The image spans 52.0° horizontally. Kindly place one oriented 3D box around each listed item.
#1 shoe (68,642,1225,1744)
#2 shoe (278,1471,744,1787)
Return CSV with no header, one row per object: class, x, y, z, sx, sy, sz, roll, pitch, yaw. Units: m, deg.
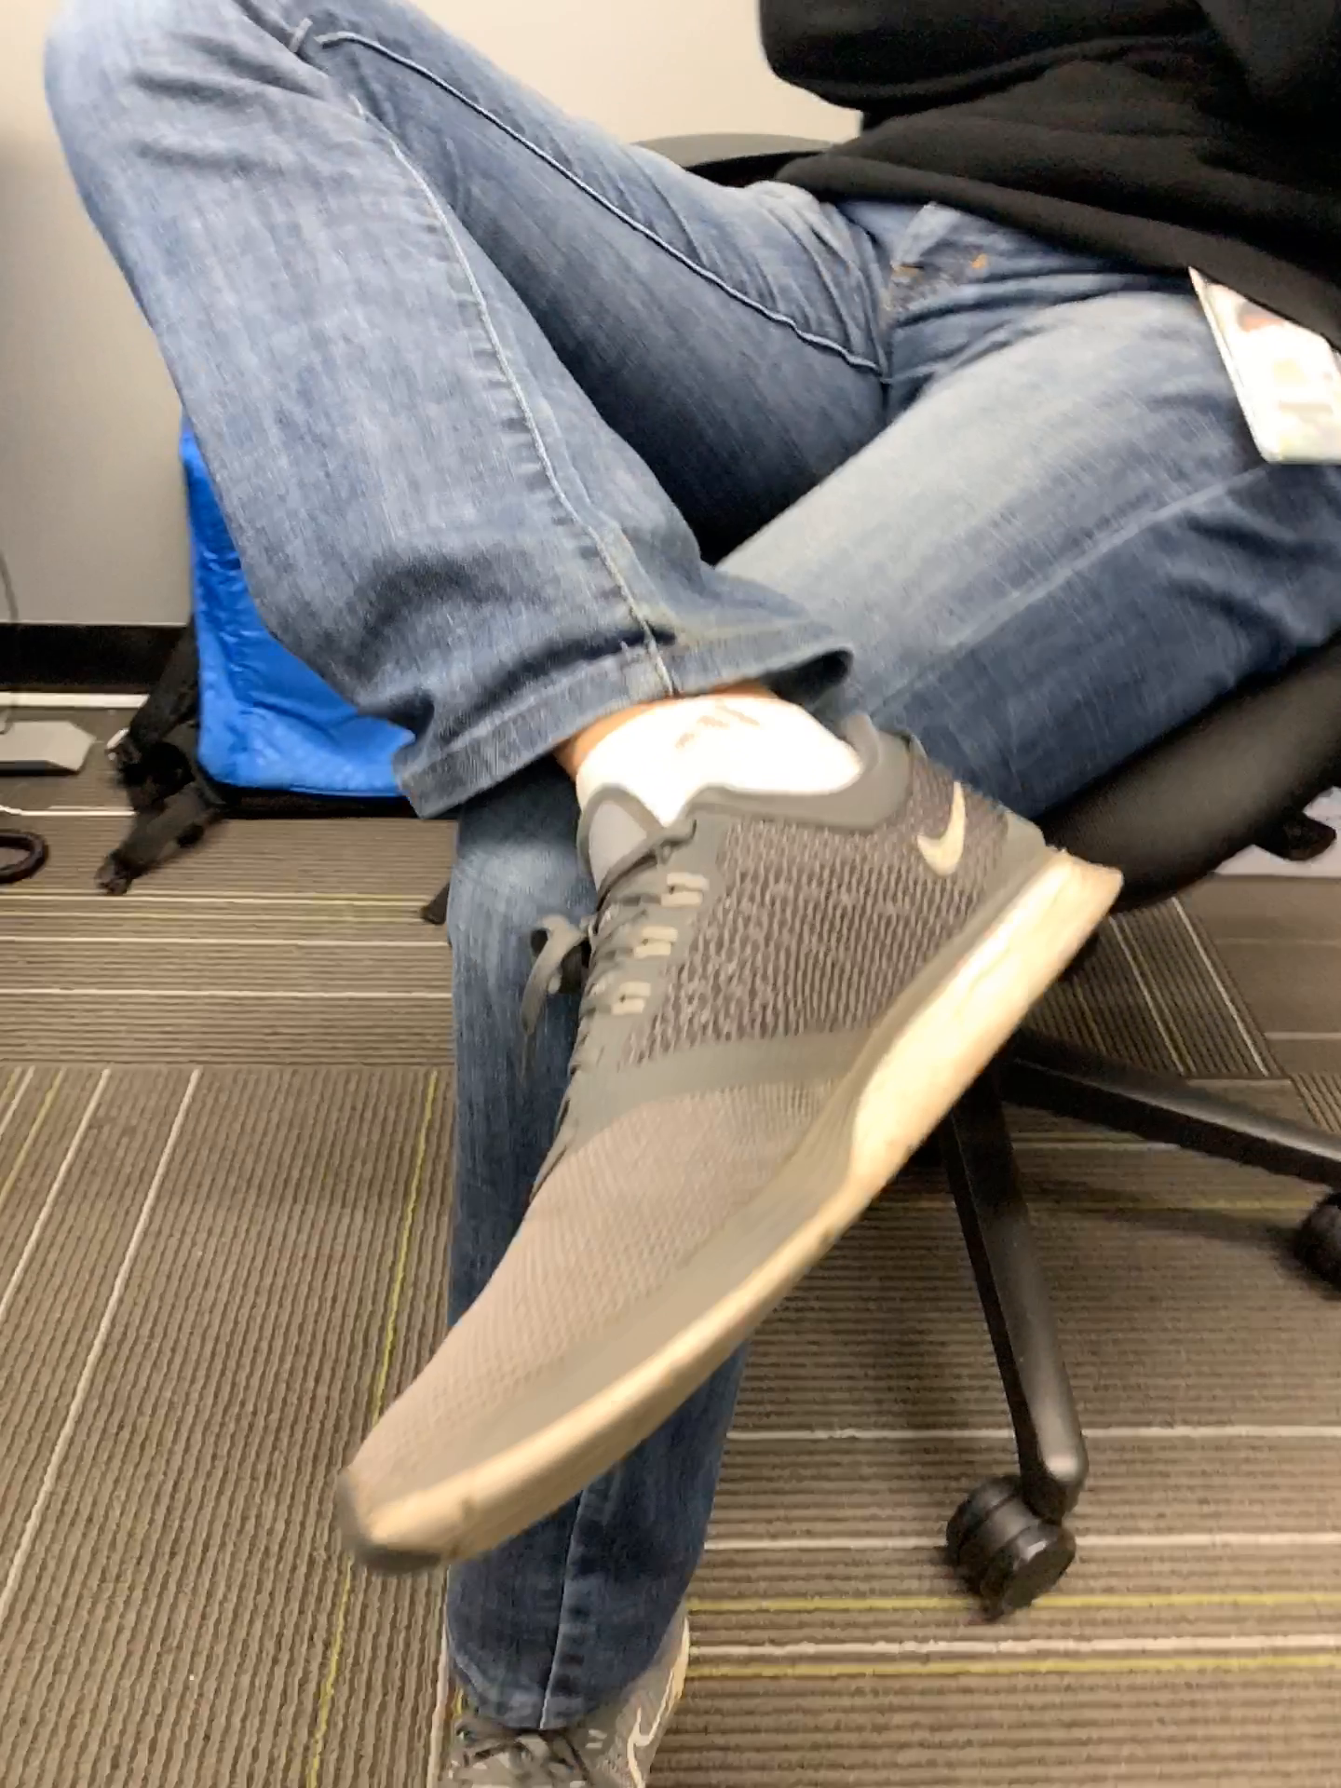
shoe,0.012,0.049,0.391,0.134,0.120,0.295,33,44,30
shoe,-0.063,0.463,0.697,0.113,0.092,0.289,14,38,15
